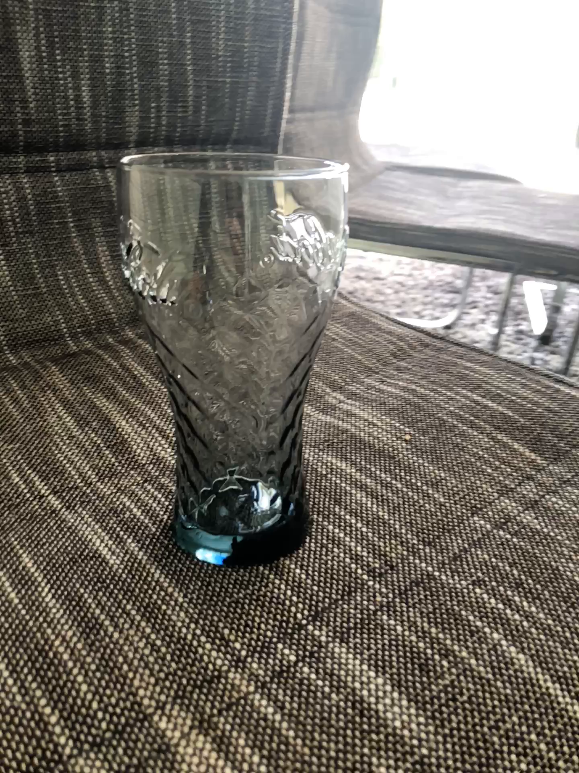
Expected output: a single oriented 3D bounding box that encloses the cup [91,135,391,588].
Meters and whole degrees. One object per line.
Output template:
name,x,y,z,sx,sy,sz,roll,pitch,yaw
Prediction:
cup,-0.020,-0.014,0.231,0.080,0.139,0.080,2,20,-1
